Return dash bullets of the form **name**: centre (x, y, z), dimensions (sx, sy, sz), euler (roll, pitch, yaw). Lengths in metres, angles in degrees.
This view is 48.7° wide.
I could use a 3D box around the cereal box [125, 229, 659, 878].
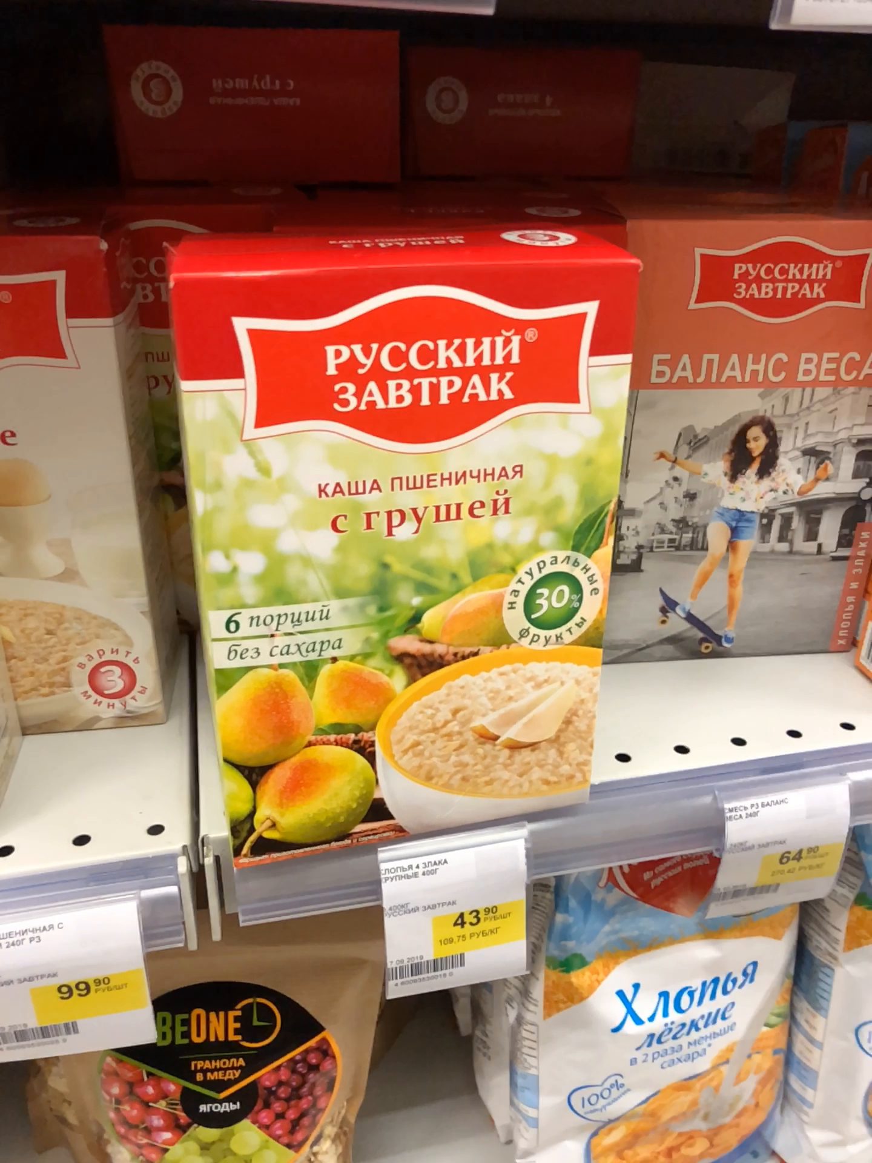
- **cereal box**: centre (-0.015, -0.010, 0.314), dimensions (0.140, 0.189, 0.060), euler (-6, 27, -14)
